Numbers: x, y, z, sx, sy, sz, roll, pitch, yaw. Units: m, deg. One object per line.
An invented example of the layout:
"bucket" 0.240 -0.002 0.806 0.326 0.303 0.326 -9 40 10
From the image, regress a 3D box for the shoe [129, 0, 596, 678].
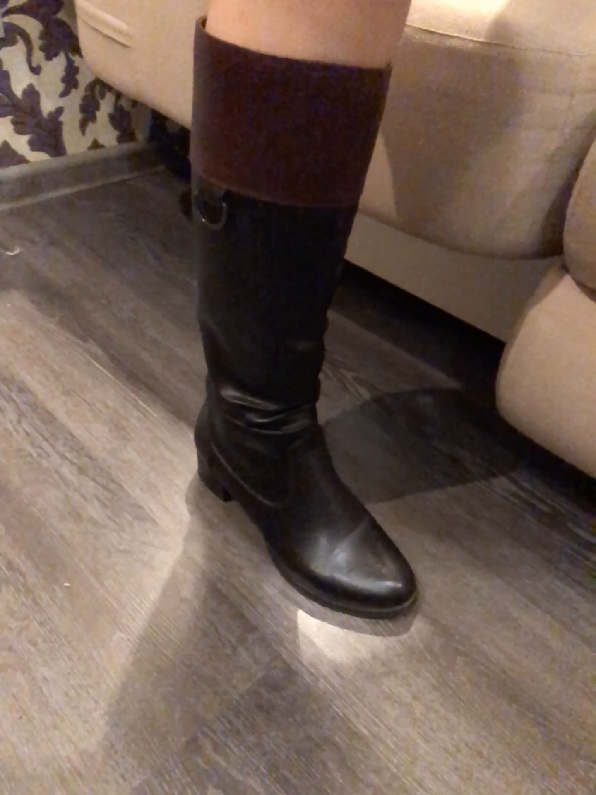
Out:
"shoe" 0.016 -0.026 0.487 0.271 0.417 0.110 35 48 30
